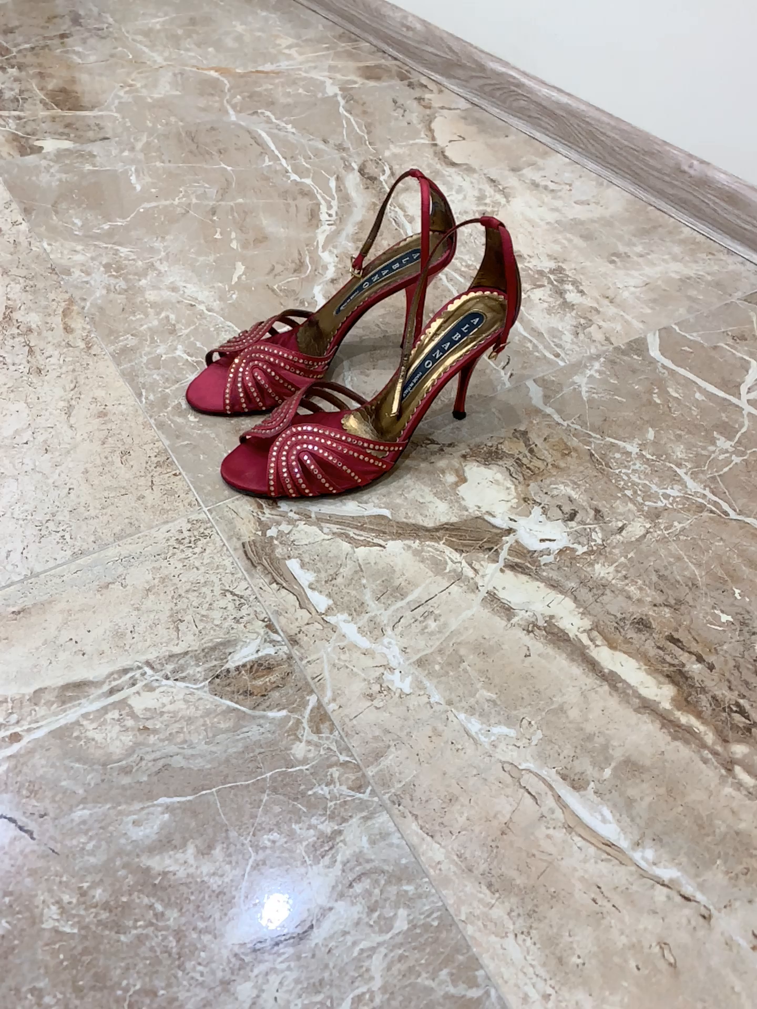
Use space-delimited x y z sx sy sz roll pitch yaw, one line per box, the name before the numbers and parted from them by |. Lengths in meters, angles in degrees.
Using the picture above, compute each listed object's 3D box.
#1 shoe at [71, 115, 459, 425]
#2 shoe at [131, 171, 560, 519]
shoe | -0.071 -0.168 0.547 0.230 0.129 0.090 -23 54 -20
shoe | -0.017 -0.105 0.493 0.230 0.129 0.090 -23 54 -20
